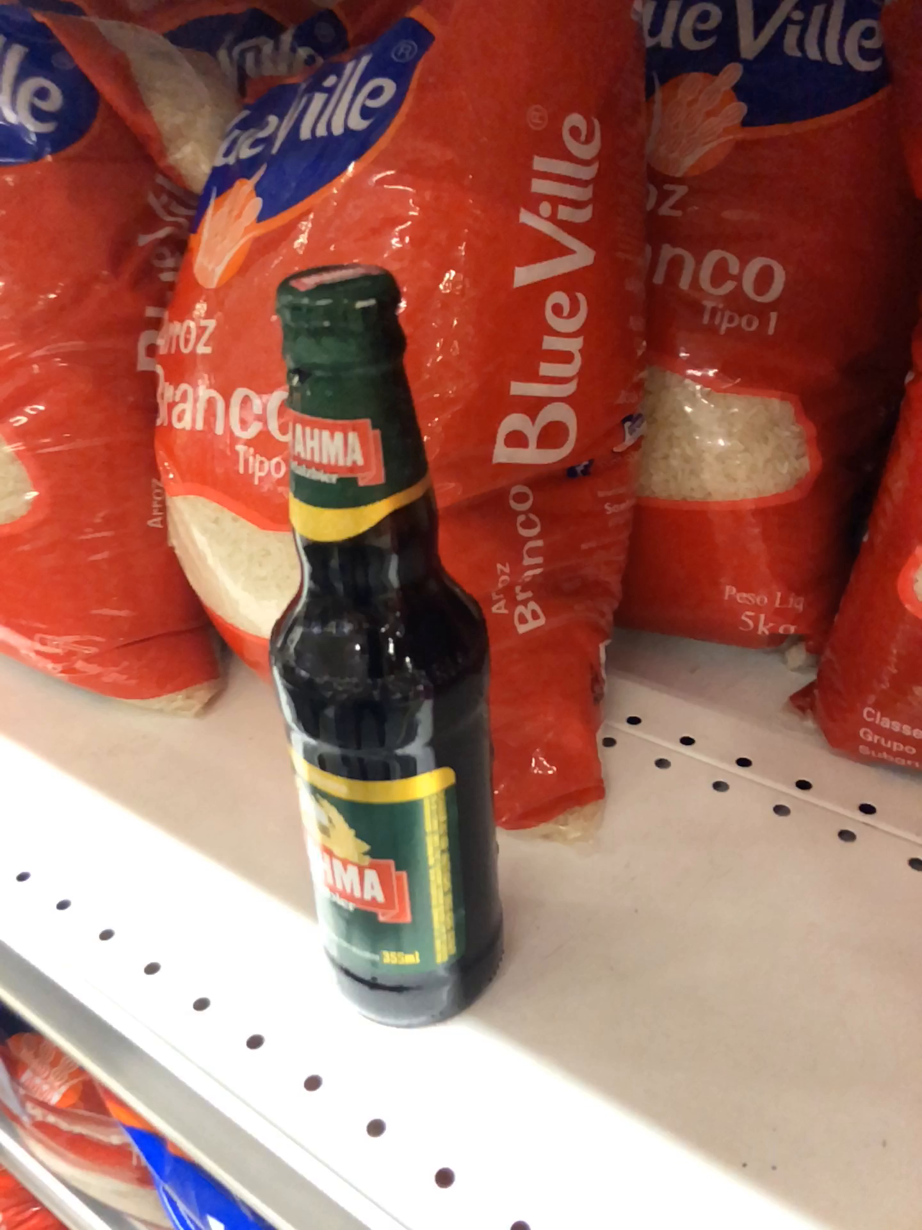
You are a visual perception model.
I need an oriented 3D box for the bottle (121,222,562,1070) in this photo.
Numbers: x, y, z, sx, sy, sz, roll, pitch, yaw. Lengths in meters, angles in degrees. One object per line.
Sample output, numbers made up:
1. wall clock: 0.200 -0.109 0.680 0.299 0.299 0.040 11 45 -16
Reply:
1. bottle: -0.020 0.020 0.285 0.070 0.228 0.060 22 43 34
